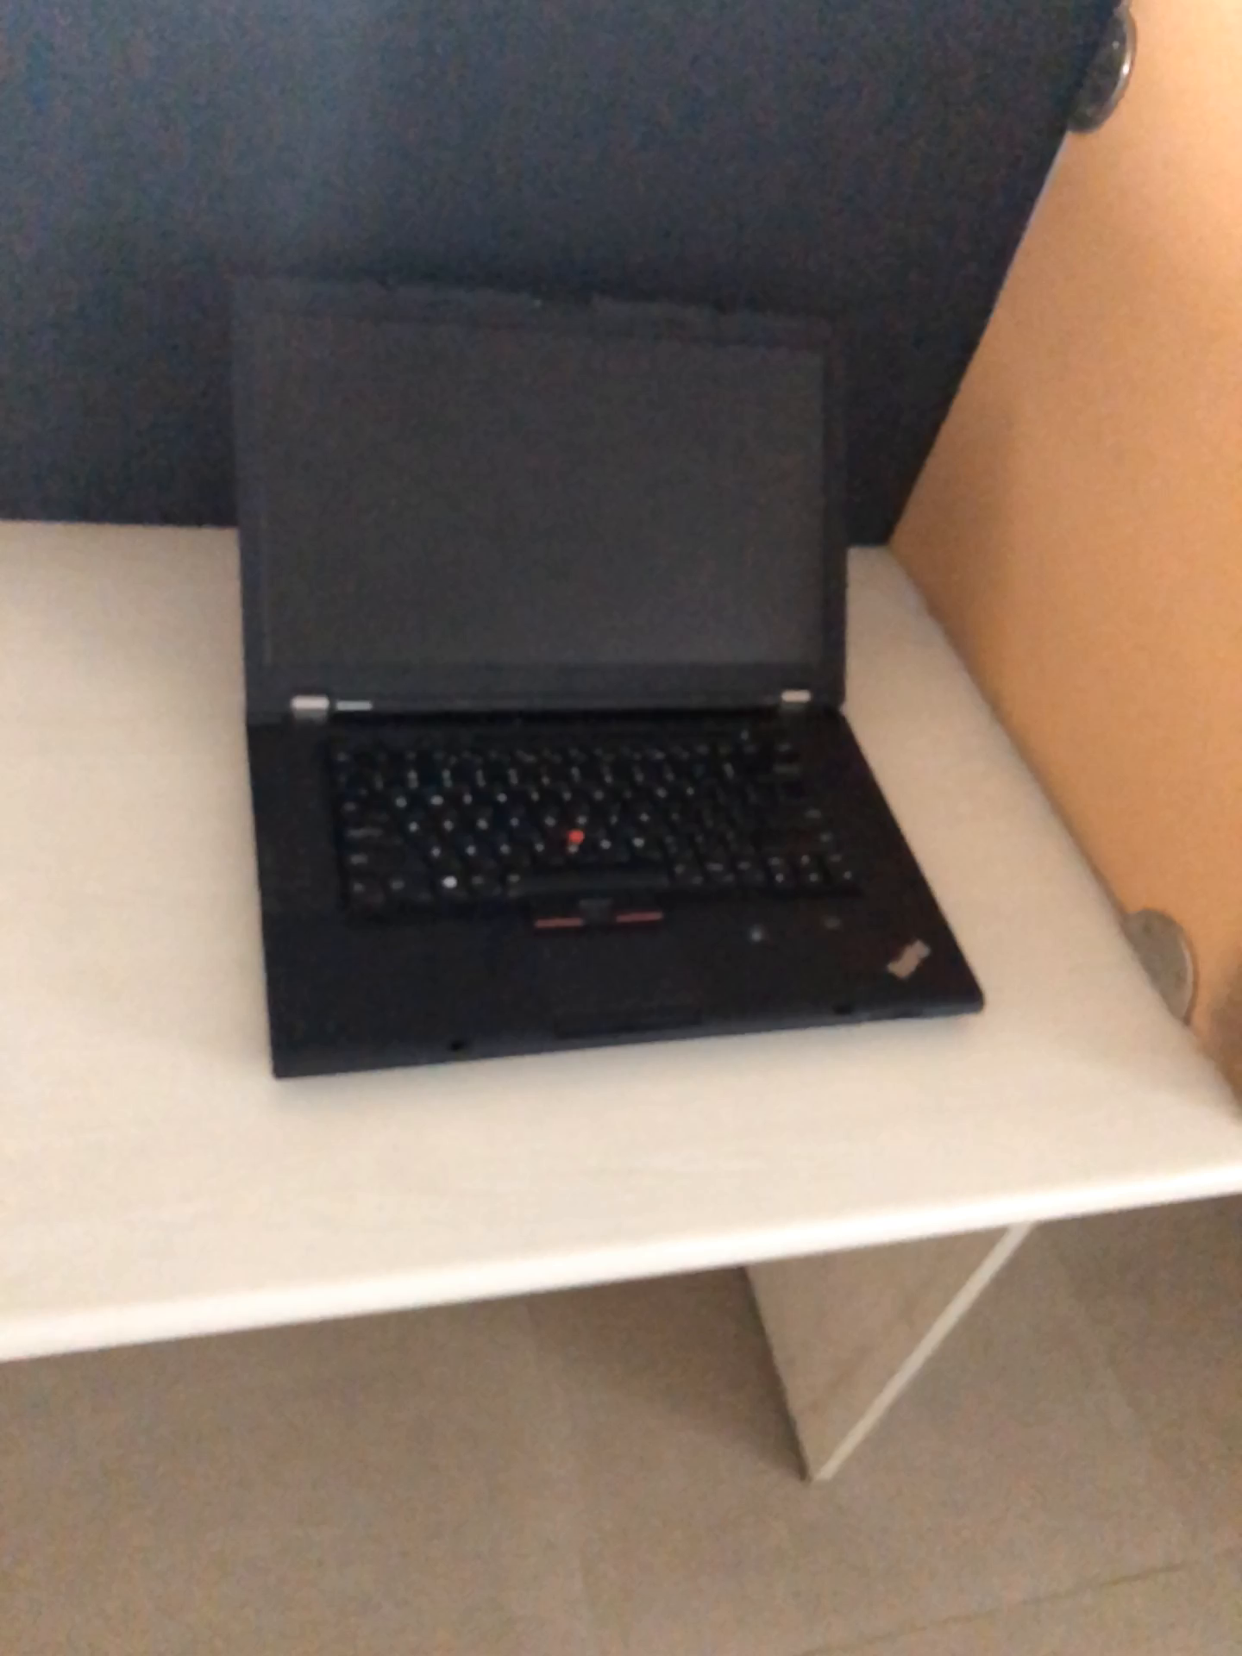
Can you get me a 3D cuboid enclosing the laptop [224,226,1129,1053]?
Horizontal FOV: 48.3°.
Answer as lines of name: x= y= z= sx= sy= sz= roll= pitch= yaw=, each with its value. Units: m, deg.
laptop: x=-0.011 y=-0.111 z=0.731 sx=0.354 sy=0.185 sz=0.381 roll=-2 pitch=49 yaw=-19
